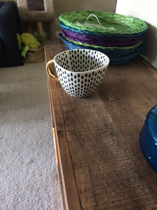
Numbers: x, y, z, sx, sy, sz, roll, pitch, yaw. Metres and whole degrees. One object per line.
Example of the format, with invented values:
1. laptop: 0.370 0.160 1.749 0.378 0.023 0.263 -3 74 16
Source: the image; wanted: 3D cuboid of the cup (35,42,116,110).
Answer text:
1. cup: -0.002 -0.067 0.363 0.130 0.079 0.101 16 41 18
